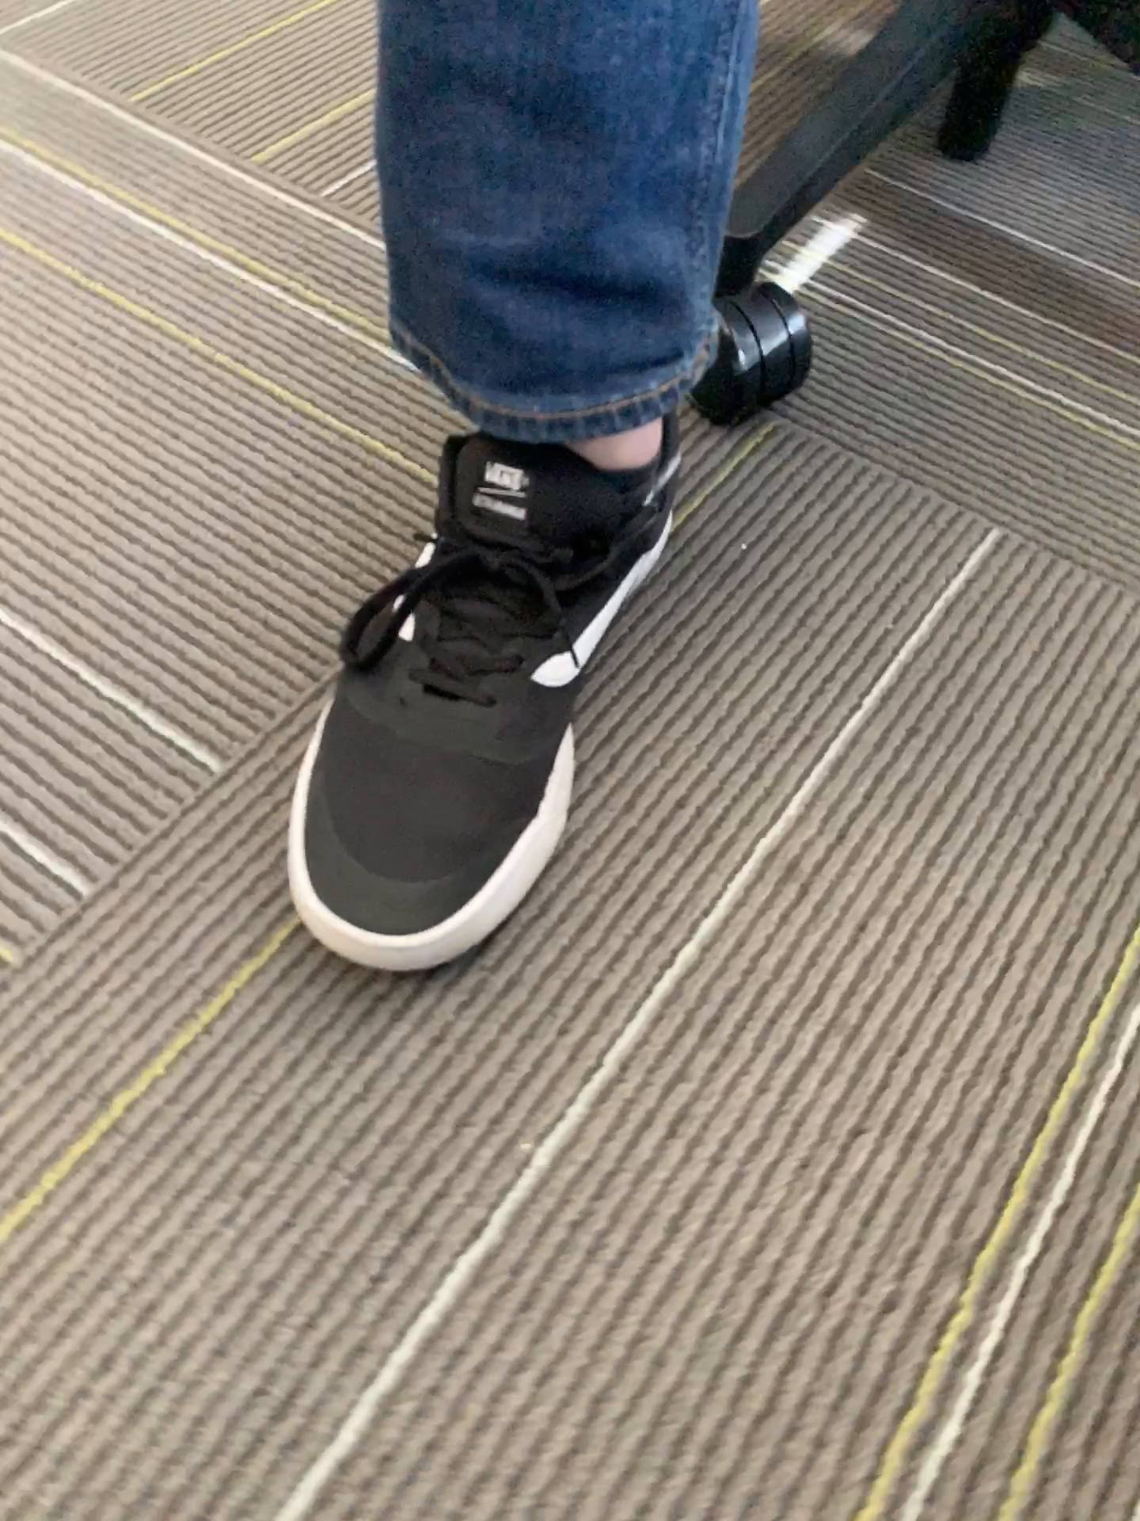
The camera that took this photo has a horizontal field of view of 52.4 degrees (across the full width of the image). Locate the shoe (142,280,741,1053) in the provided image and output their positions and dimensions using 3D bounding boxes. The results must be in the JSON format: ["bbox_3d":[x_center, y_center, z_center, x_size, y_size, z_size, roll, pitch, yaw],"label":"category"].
[{"bbox_3d":[-0.036,-0.057,0.517,0.120,0.120,0.321,19,58,8],"label":"shoe"}]
